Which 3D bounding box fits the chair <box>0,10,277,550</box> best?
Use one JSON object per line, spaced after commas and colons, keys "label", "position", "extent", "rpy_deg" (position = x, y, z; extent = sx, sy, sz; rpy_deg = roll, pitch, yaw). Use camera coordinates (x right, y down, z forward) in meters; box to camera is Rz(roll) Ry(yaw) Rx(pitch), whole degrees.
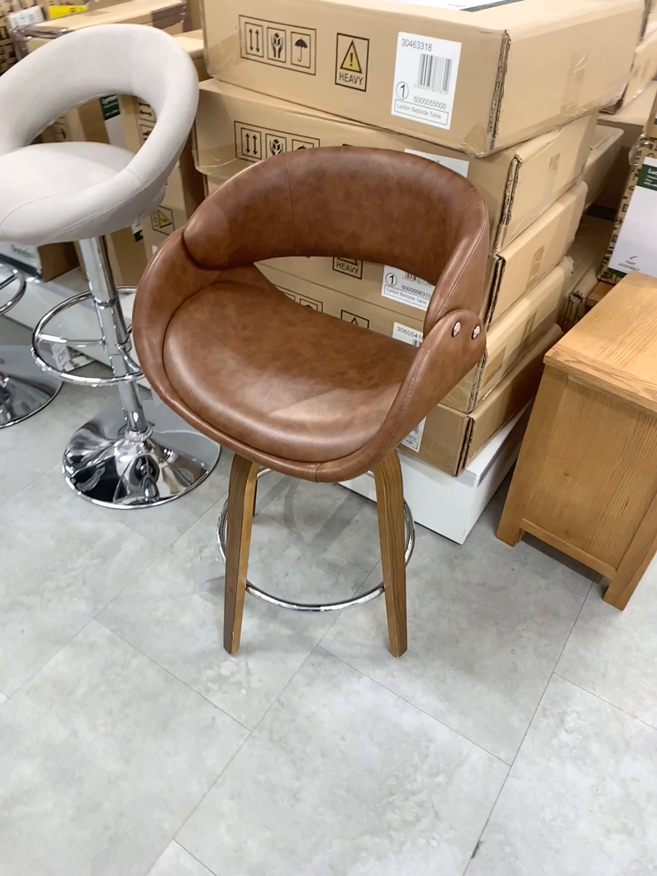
{"label": "chair", "position": [-0.486, -0.330, 1.500], "extent": [0.495, 0.945, 0.523], "rpy_deg": [24, 47, 23]}

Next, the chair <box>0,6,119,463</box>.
{"label": "chair", "position": [-0.961, -0.489, 1.674], "extent": [0.495, 0.886, 0.473], "rpy_deg": [24, 47, 23]}

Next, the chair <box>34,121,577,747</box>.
{"label": "chair", "position": [-0.018, -0.006, 1.230], "extent": [0.545, 0.846, 0.553], "rpy_deg": [26, 48, 25]}
